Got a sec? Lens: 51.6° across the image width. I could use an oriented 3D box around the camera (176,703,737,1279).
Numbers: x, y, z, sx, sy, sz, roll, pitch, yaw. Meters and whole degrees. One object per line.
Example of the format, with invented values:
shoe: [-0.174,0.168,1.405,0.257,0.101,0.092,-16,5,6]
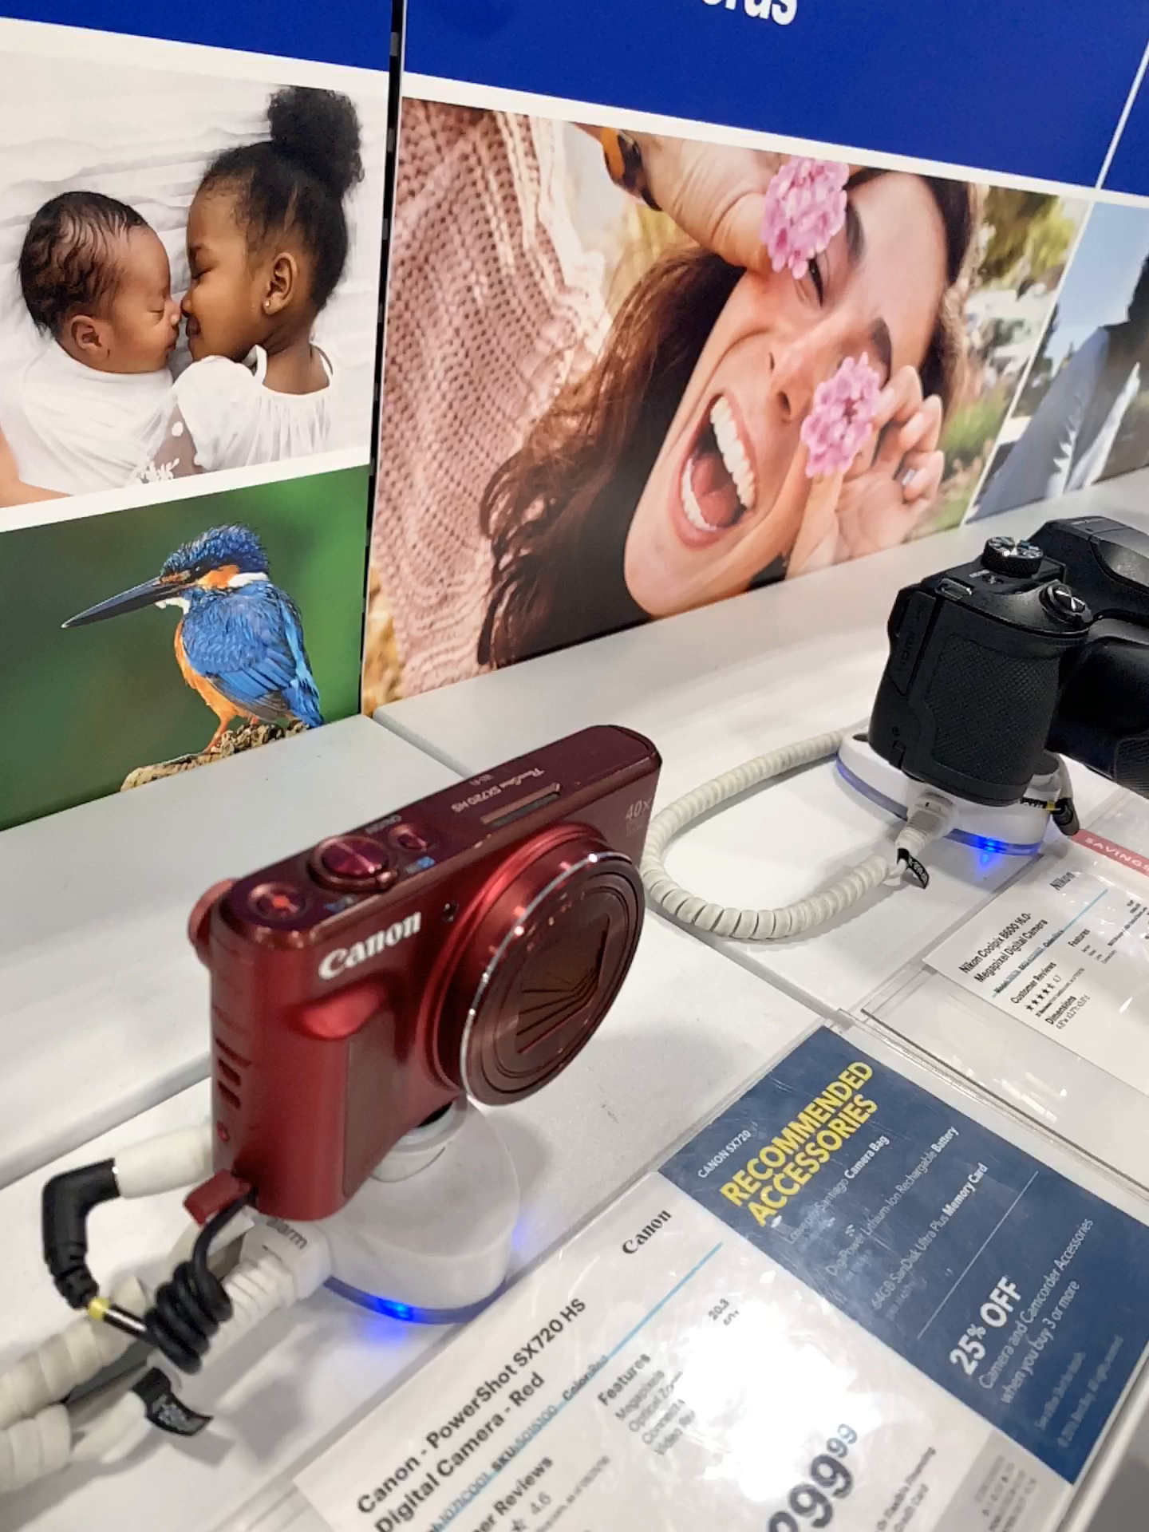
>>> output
camera: [-0.018,0.035,0.232,0.037,0.060,0.110,26,32,30]
